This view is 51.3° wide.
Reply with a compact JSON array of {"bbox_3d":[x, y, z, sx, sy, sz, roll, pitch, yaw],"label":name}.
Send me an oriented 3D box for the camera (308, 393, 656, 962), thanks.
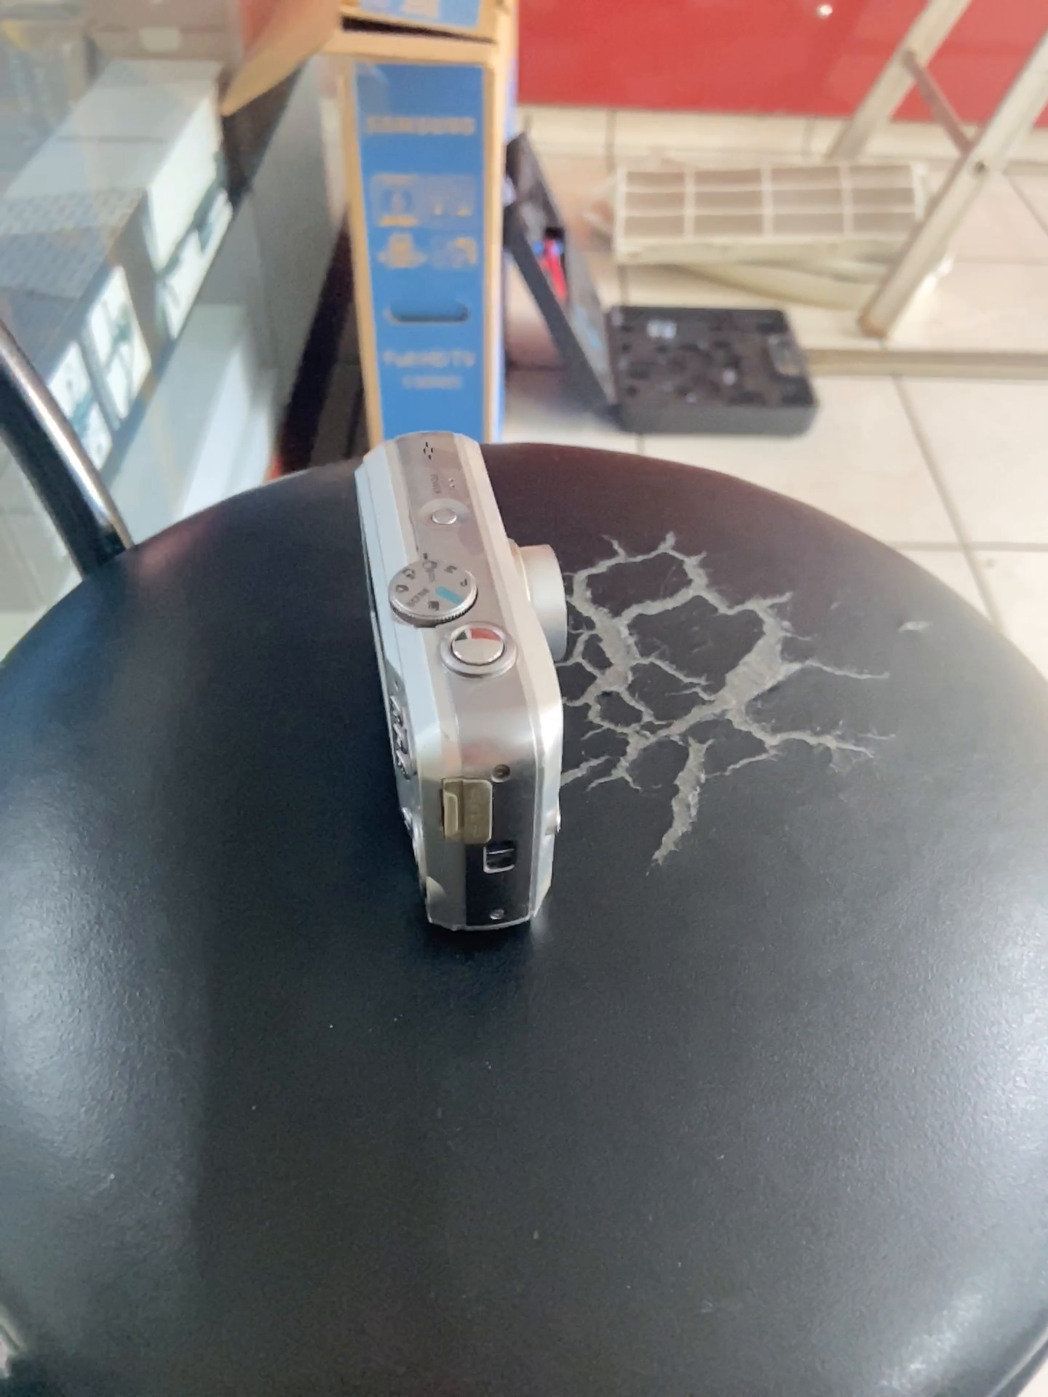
[{"bbox_3d":[-0.014,-0.008,0.227,0.050,0.060,0.101,-7,47,-9],"label":"camera"}]
